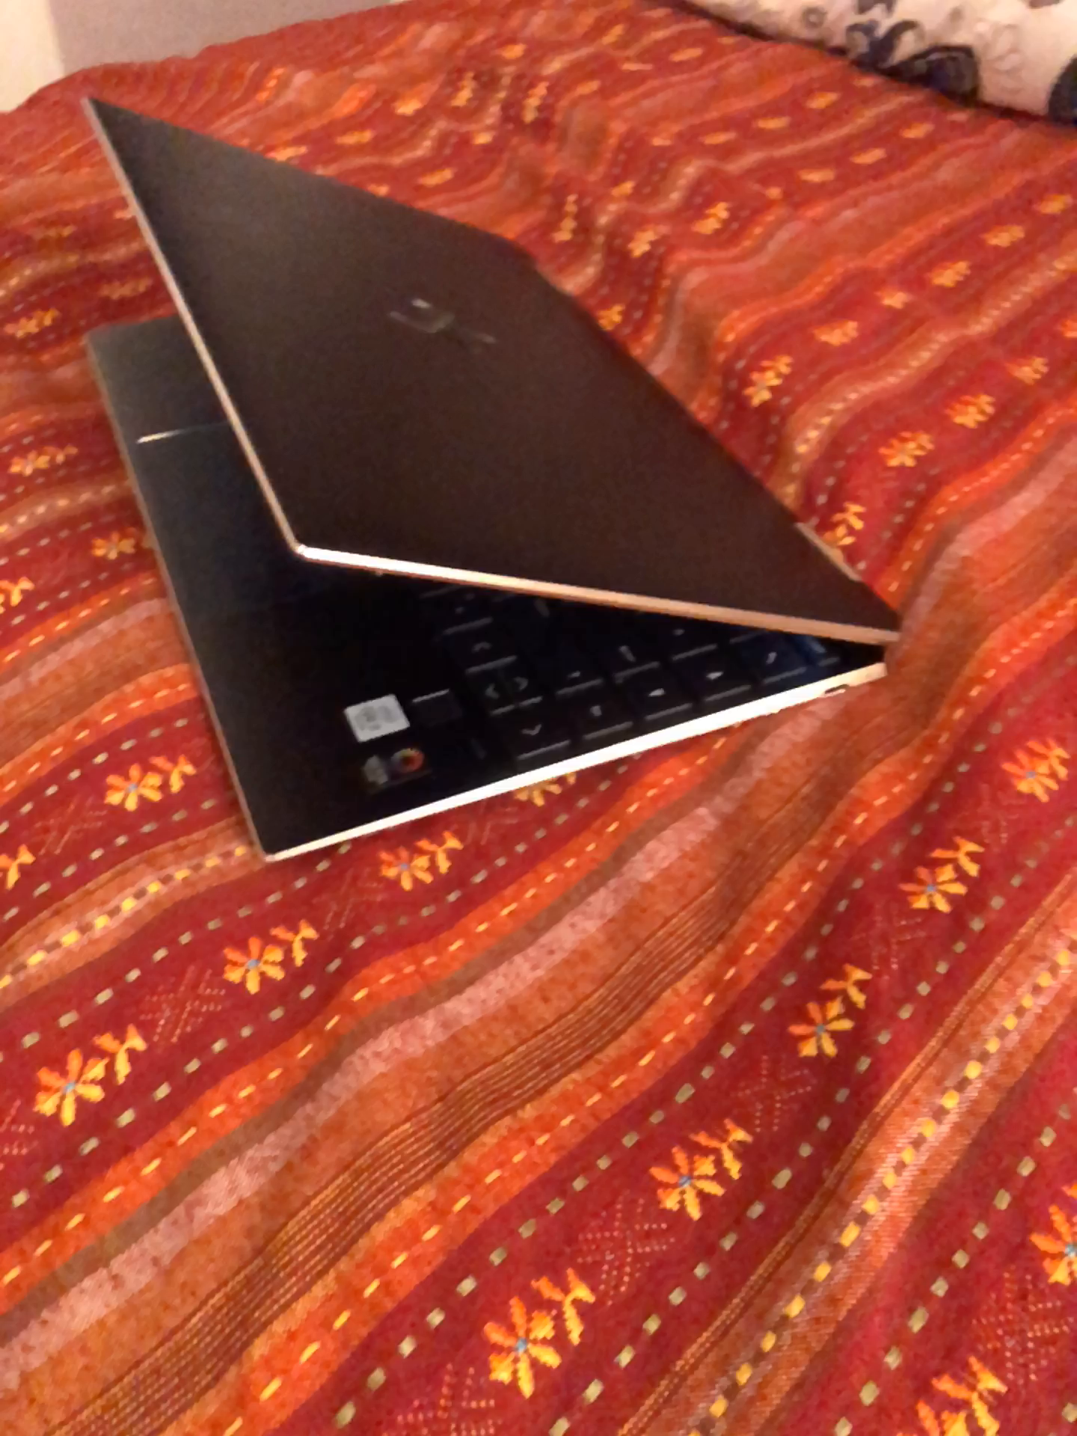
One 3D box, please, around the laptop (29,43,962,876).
[{"bbox_3d":[-0.041,-0.130,0.405,0.203,0.101,0.327,-14,44,-19],"label":"laptop"}]
